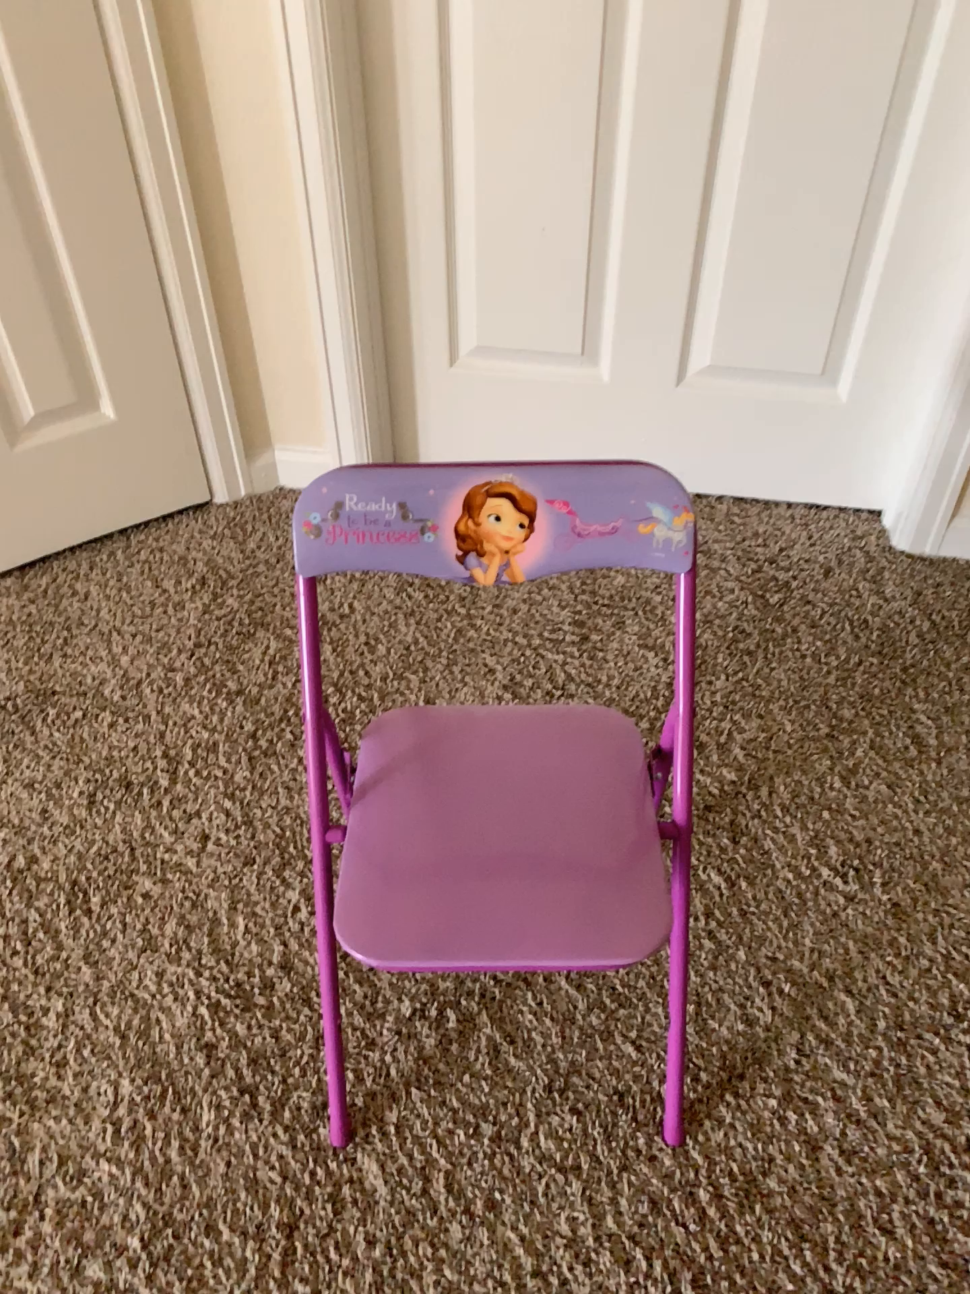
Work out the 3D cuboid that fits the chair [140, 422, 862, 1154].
[{"bbox_3d":[0.009,0.126,0.824,0.380,0.468,0.392,-1,44,0],"label":"chair"}]
